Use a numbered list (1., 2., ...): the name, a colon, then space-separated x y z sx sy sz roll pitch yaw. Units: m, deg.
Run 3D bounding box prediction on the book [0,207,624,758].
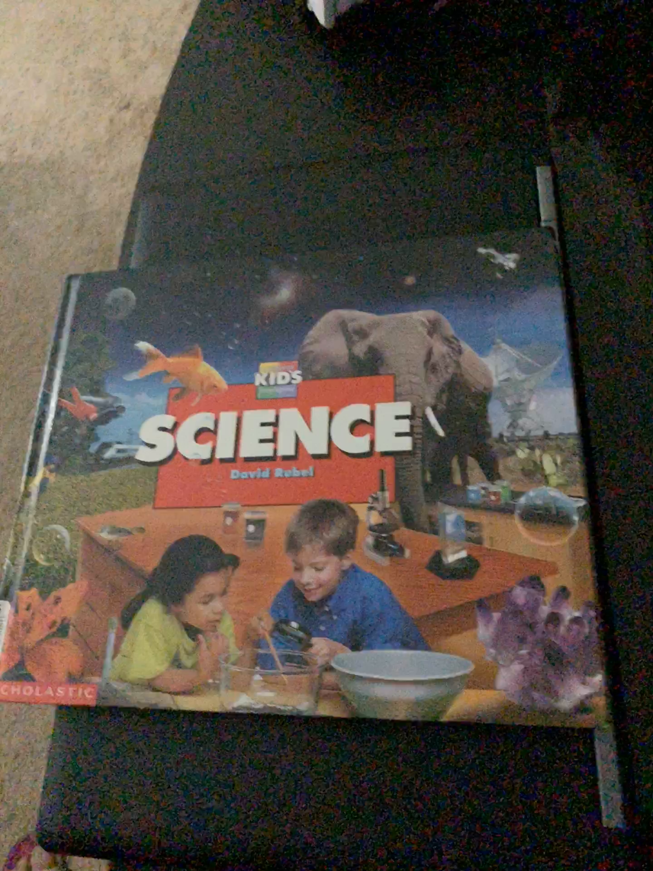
1. book: -0.024 0.013 0.327 0.280 0.030 0.240 -3 68 13
